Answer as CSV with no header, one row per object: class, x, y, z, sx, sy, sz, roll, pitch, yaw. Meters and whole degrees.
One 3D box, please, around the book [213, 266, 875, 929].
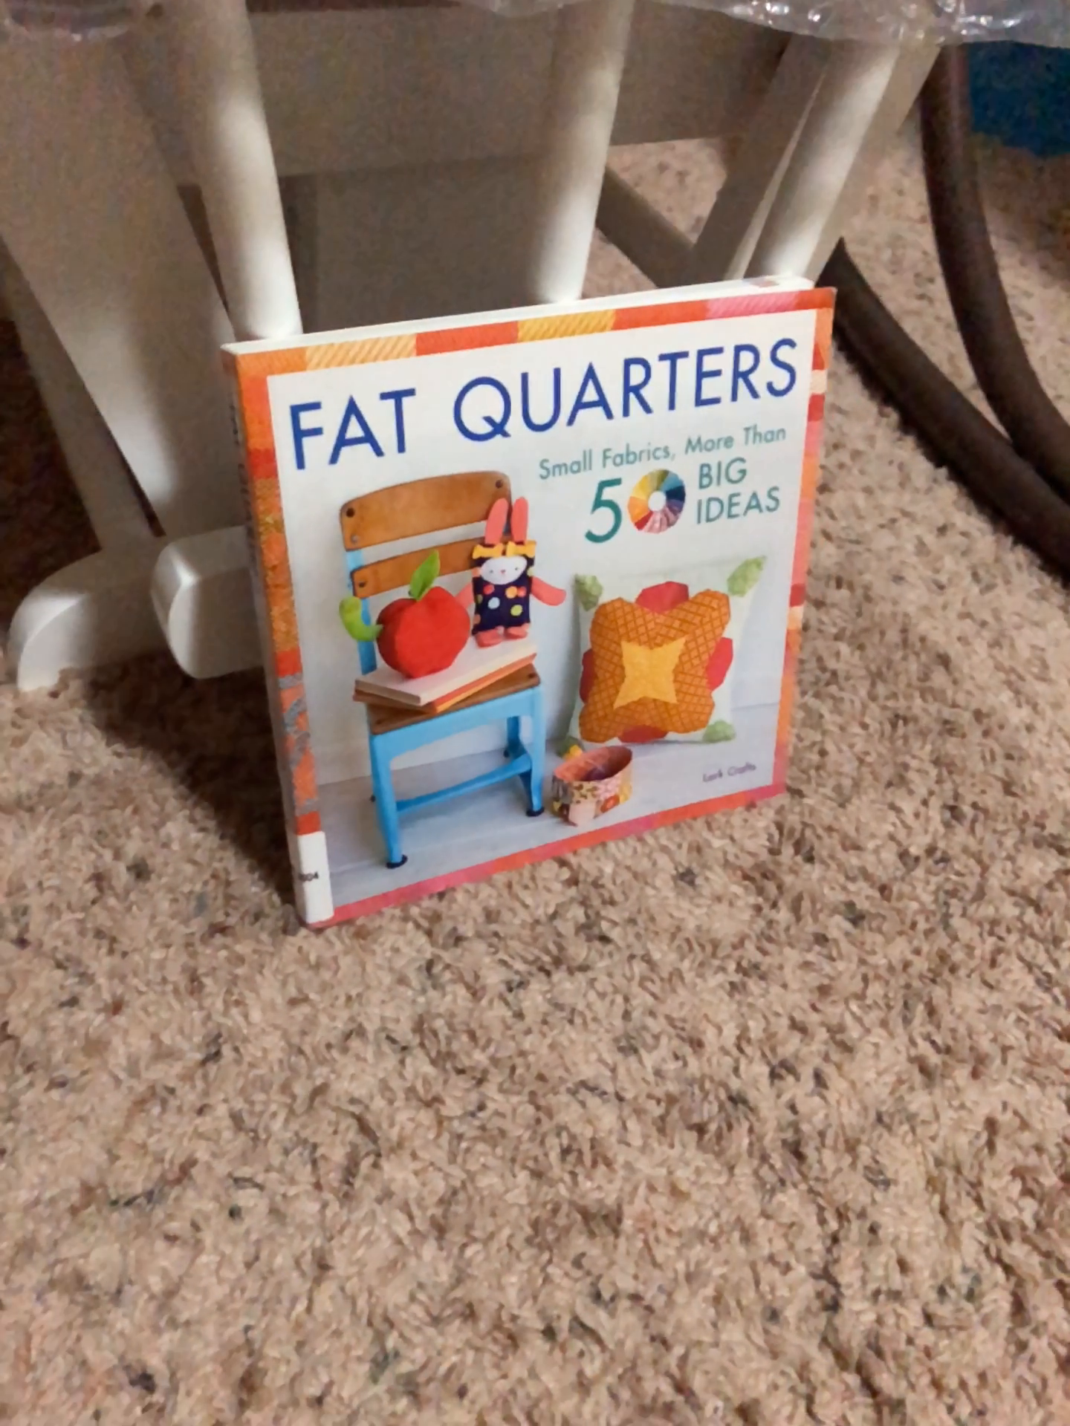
book,0.012,-0.040,0.406,0.207,0.193,0.030,-14,31,-20
